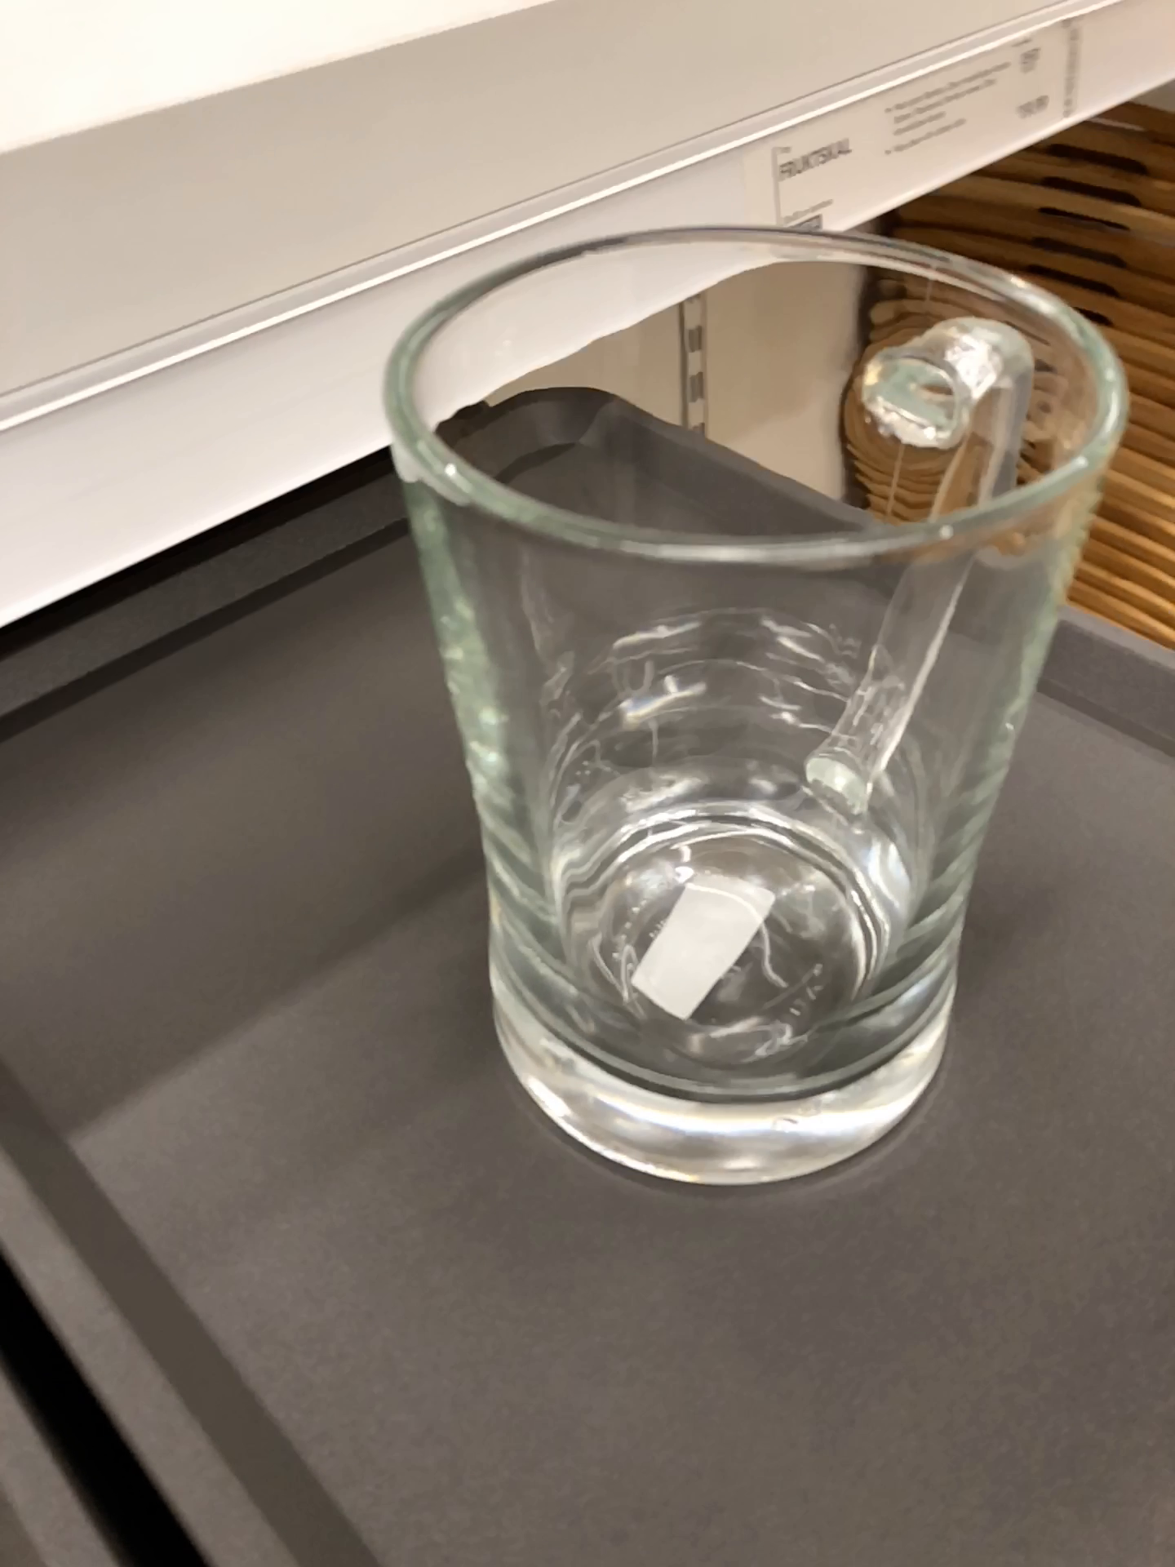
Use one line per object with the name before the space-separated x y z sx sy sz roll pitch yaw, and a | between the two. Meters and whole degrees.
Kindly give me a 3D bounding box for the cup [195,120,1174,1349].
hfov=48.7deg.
cup | 0.043 -0.023 0.237 0.110 0.129 0.160 28 50 30
